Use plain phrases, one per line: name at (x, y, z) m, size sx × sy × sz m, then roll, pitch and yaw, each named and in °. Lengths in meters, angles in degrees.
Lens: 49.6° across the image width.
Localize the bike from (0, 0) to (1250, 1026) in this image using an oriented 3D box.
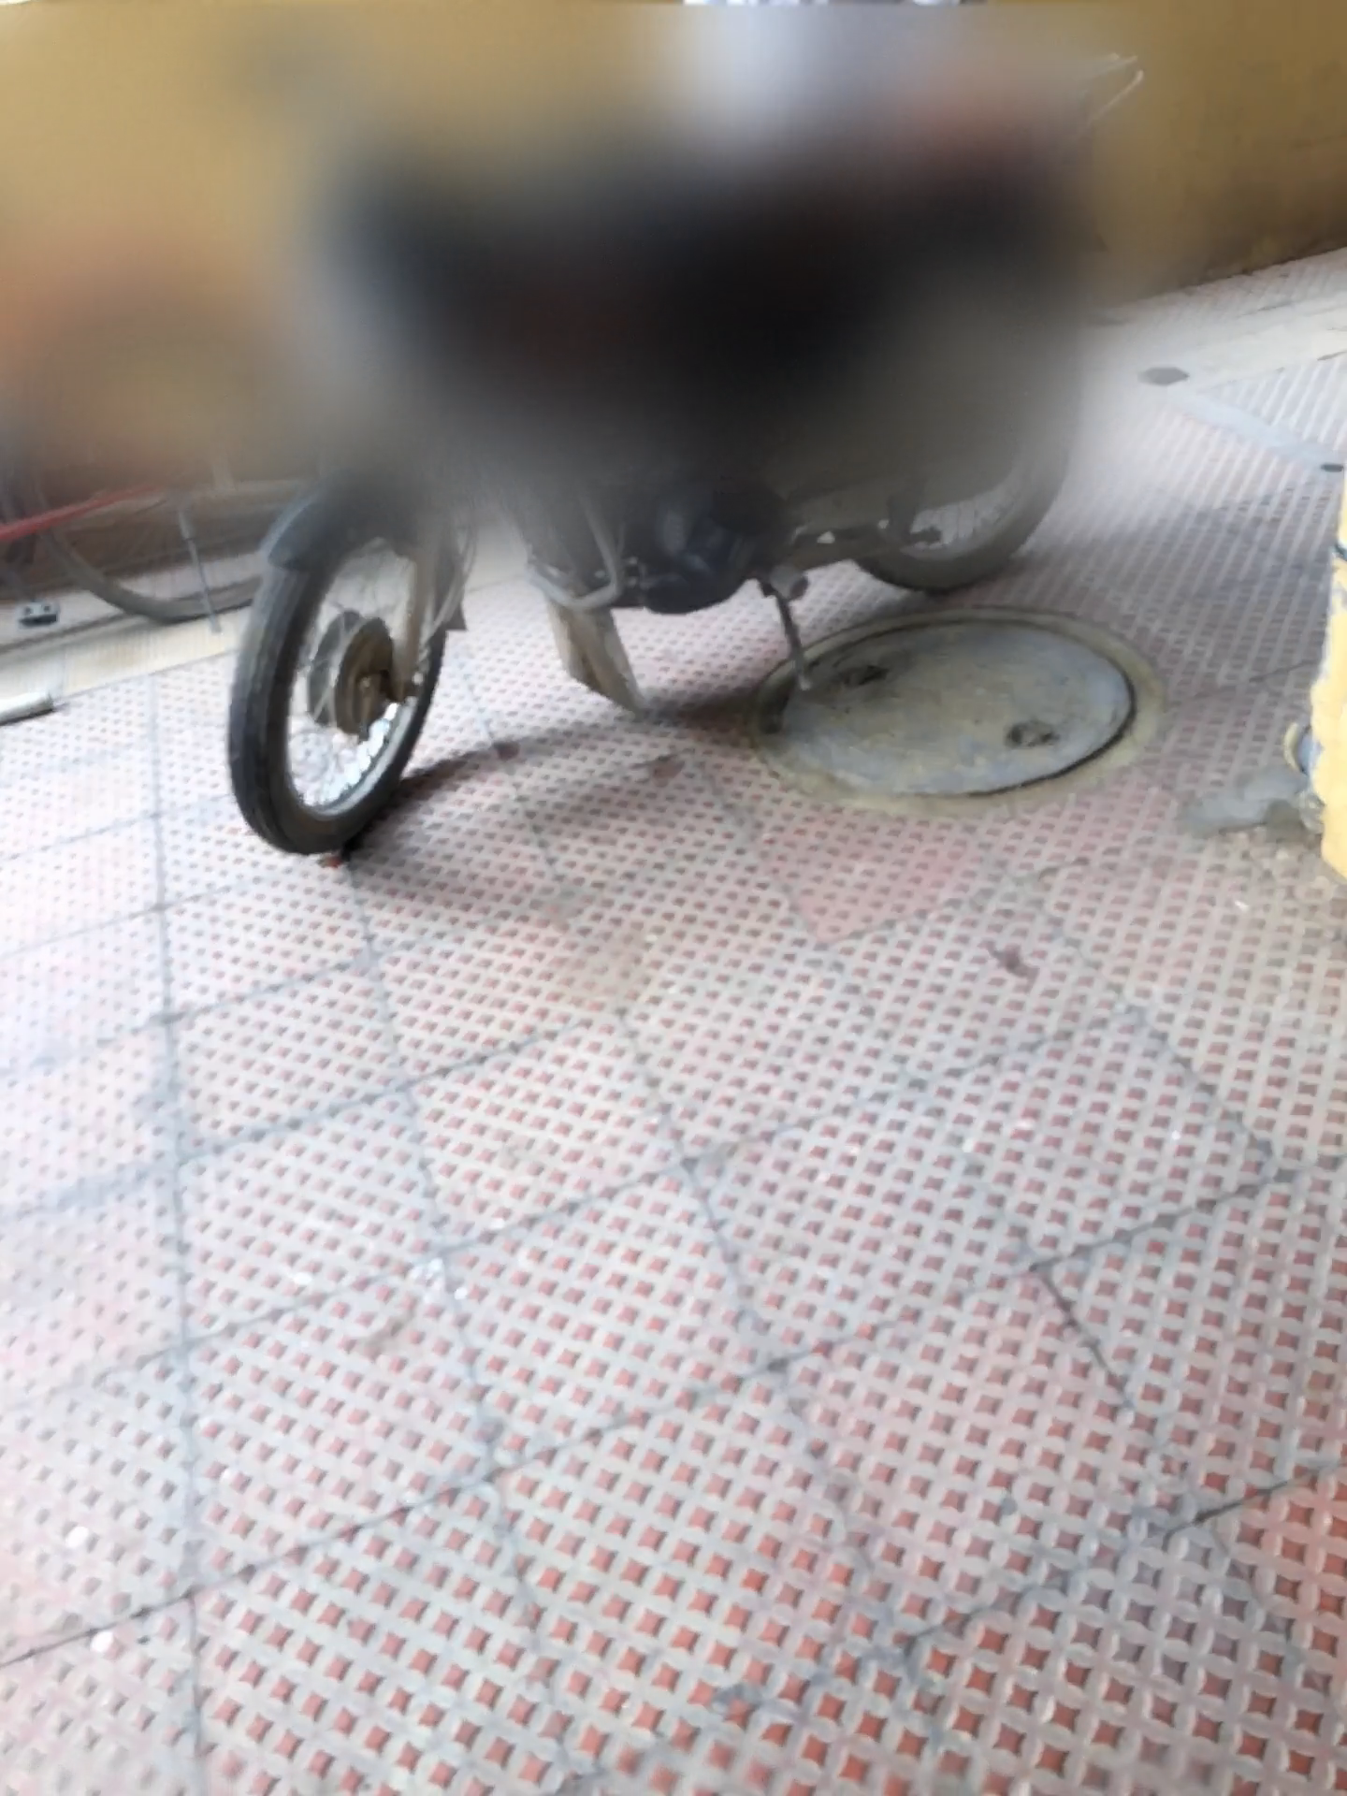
bike at (-0.017, -0.761, 2.212) m, size 1.601 × 0.974 × 0.761 m, roll -30°, pitch 40°, yaw -21°
